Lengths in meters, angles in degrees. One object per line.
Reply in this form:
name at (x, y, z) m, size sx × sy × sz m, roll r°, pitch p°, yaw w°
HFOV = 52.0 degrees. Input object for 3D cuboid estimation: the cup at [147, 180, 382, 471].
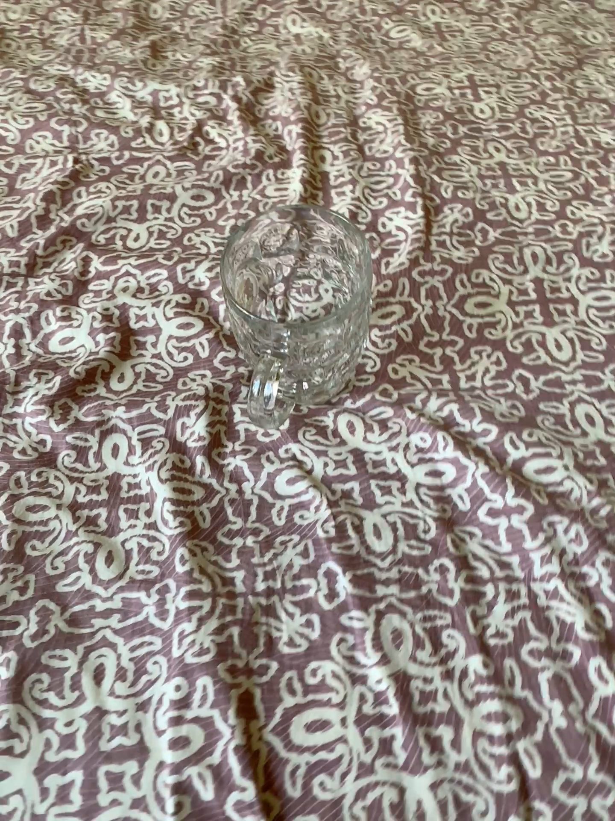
cup at (-0.015, -0.051, 0.389) m, size 0.090 × 0.109 × 0.121 m, roll 15°, pitch 60°, yaw 14°
